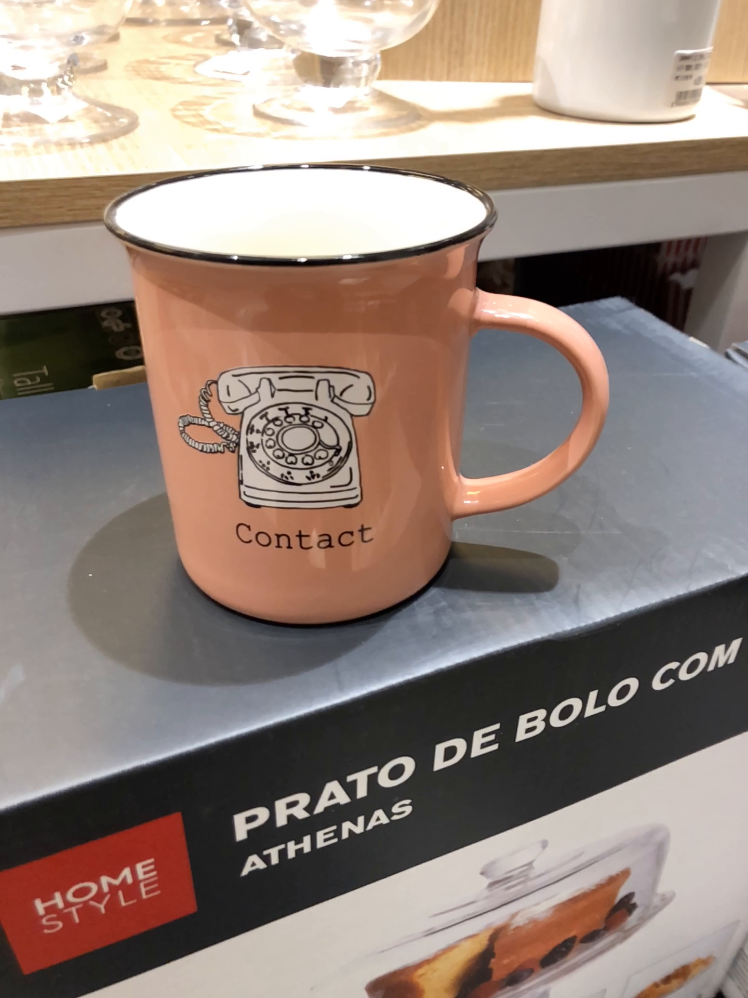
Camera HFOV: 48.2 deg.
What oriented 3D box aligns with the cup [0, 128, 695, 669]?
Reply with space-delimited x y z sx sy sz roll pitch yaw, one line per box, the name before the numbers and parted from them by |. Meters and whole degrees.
cup | -0.005 -0.025 0.188 0.110 0.089 0.081 2 35 1
